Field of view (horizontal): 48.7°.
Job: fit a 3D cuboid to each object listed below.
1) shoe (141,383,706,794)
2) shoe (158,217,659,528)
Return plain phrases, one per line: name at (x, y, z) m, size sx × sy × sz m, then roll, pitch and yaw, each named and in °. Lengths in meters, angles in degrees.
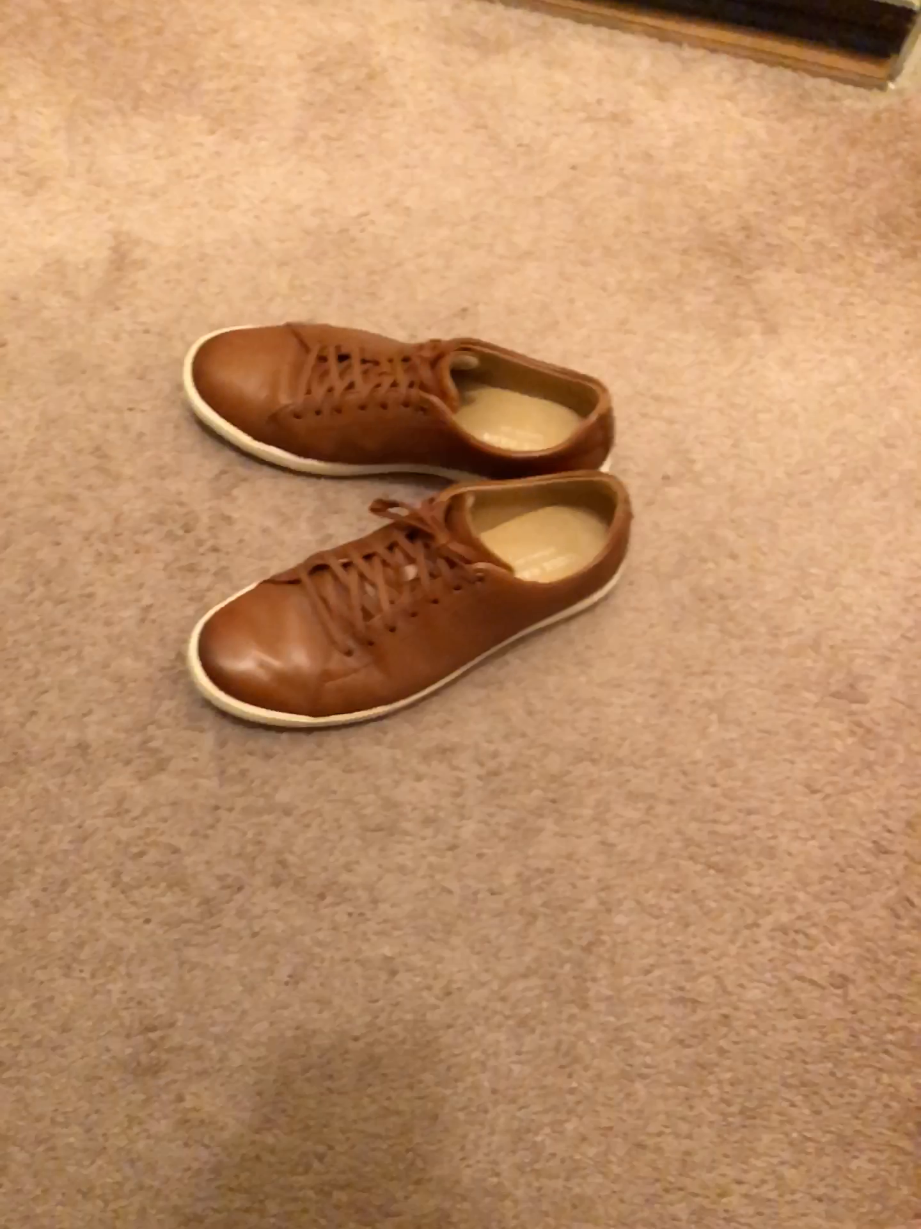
shoe at (-0.020, -0.017, 0.600) m, size 0.285 × 0.100 × 0.117 m, roll -22°, pitch 72°, yaw -14°
shoe at (-0.029, -0.150, 0.654) m, size 0.285 × 0.102 × 0.117 m, roll 8°, pitch 67°, yaw -3°
